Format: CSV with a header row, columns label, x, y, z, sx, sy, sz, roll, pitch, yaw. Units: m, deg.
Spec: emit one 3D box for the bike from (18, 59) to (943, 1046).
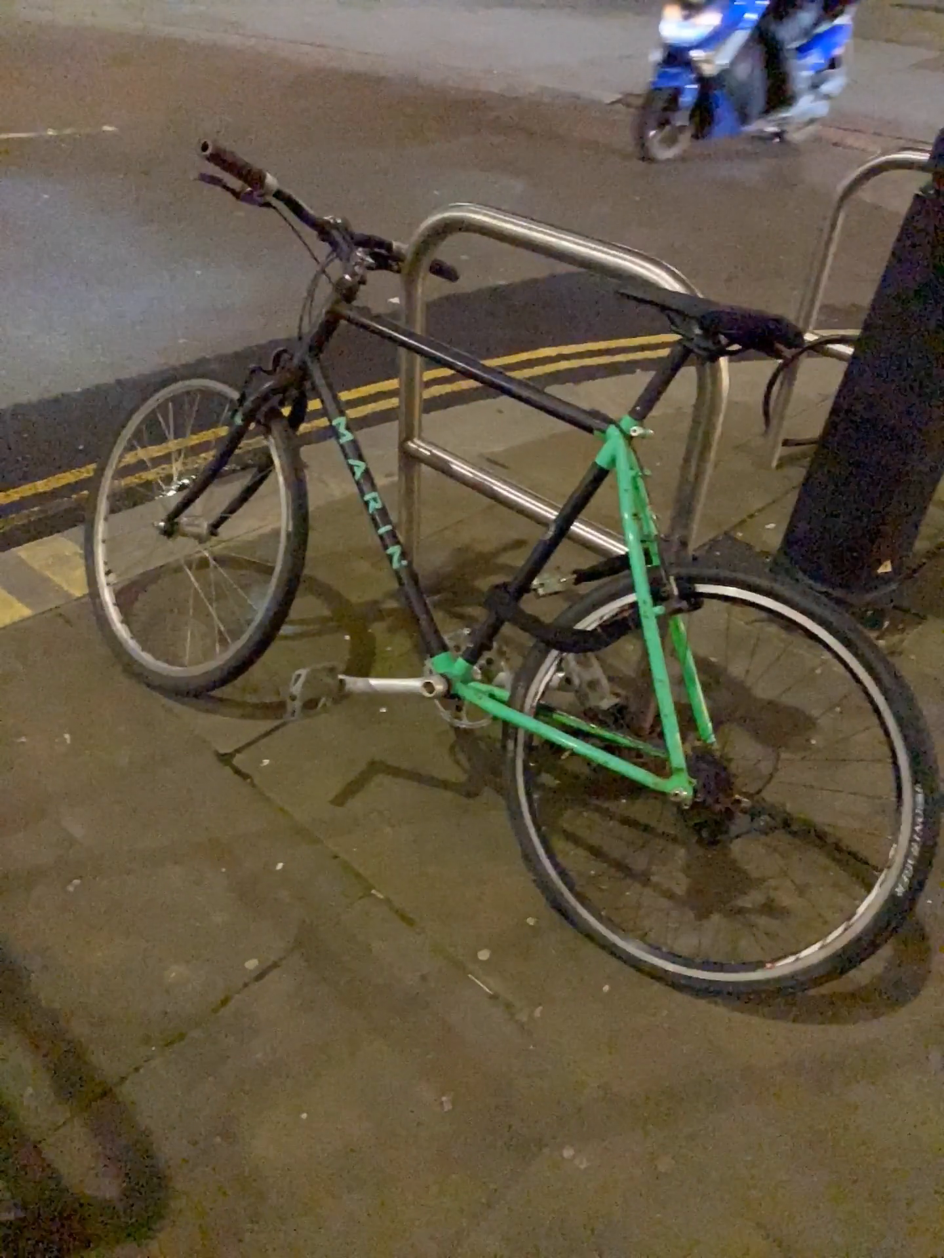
label,x,y,z,sx,sy,sz,roll,pitch,yaw
bike,0.075,-0.285,1.714,1.689,1.014,0.641,28,43,27
